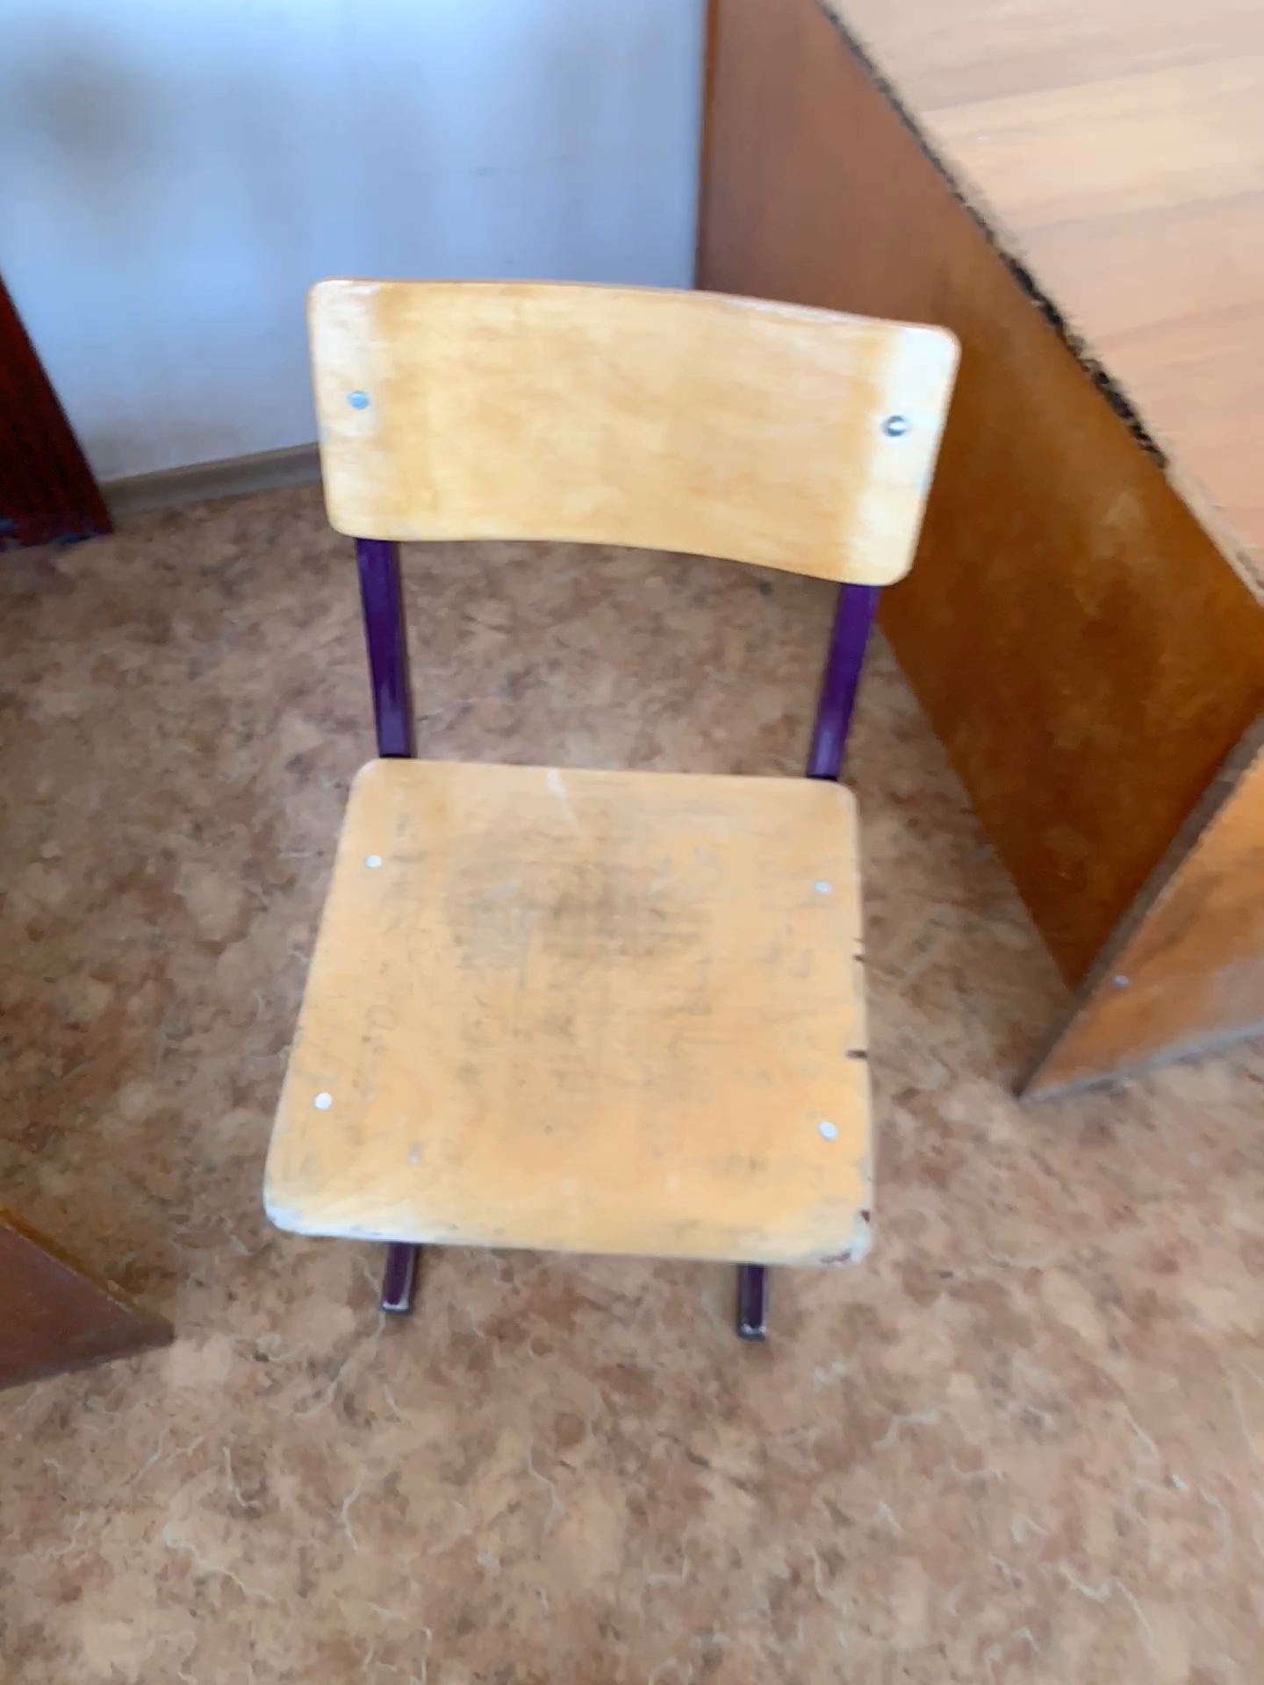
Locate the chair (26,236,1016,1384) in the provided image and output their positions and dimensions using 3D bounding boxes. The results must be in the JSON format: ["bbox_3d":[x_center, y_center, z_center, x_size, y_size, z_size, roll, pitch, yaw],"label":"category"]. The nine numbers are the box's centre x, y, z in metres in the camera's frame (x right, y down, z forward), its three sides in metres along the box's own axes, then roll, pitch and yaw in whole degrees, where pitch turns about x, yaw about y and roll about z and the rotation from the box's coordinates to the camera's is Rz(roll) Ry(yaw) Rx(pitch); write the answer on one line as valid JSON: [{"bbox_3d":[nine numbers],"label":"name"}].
[{"bbox_3d":[-0.026,0.053,0.930,0.380,0.735,0.473,4,57,3],"label":"chair"}]
